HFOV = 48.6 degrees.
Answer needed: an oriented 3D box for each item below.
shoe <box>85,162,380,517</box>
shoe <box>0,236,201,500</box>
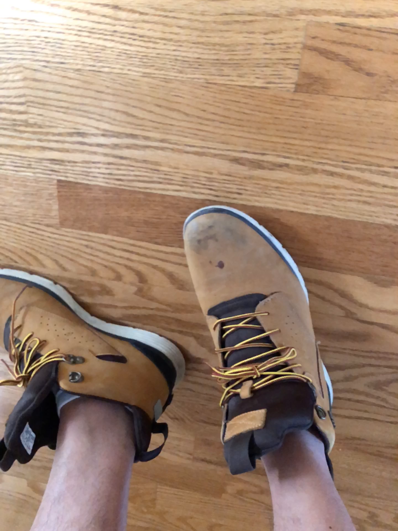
[{"bbox_3d":[0.054,0.084,0.445,0.130,0.169,0.300,-21,119,22],"label":"shoe"},{"bbox_3d":[-0.183,0.109,0.543,0.320,0.140,0.130,27,117,9],"label":"shoe"}]
